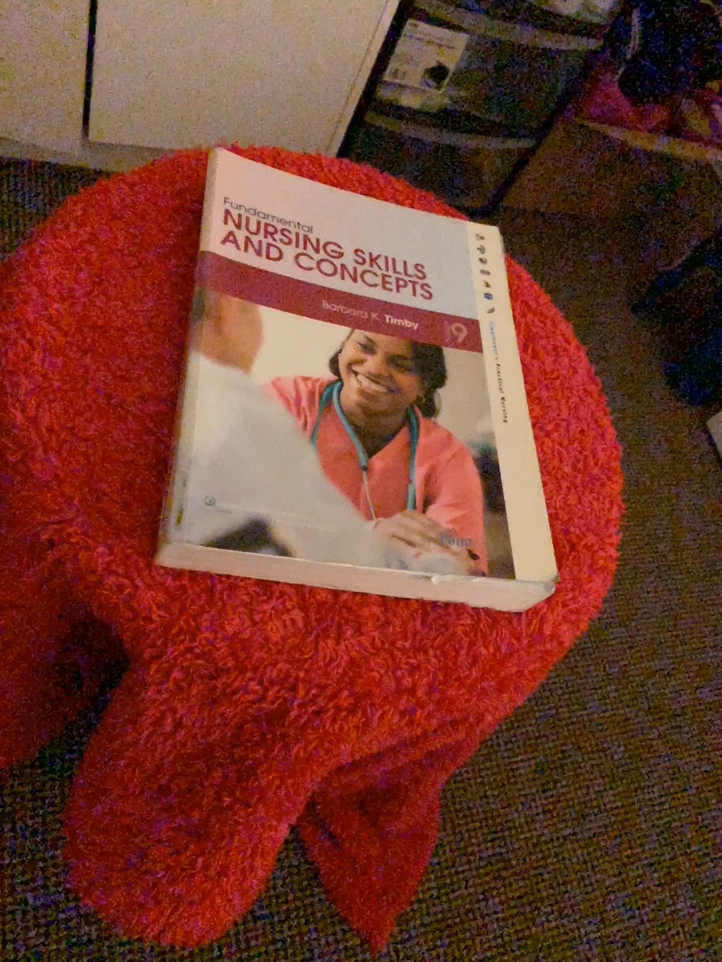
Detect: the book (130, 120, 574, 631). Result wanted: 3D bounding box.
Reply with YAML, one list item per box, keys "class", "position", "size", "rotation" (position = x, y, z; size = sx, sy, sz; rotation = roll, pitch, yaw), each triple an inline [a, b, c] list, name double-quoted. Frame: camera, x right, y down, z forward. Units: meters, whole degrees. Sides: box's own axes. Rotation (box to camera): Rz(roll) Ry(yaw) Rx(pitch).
- class: "book"
  position: [-0.006, -0.070, 0.474]
  size: [0.230, 0.070, 0.302]
  rotation: [9, 59, -19]
